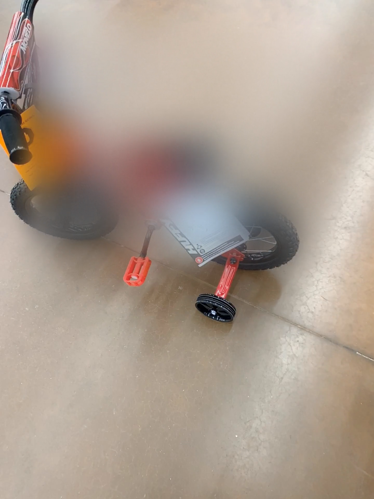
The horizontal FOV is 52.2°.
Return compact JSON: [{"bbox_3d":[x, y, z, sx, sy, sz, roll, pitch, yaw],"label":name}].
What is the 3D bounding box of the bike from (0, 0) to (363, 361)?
[{"bbox_3d":[-0.128,-0.165,0.751,0.735,0.605,0.440,10,59,10],"label":"bike"}]
